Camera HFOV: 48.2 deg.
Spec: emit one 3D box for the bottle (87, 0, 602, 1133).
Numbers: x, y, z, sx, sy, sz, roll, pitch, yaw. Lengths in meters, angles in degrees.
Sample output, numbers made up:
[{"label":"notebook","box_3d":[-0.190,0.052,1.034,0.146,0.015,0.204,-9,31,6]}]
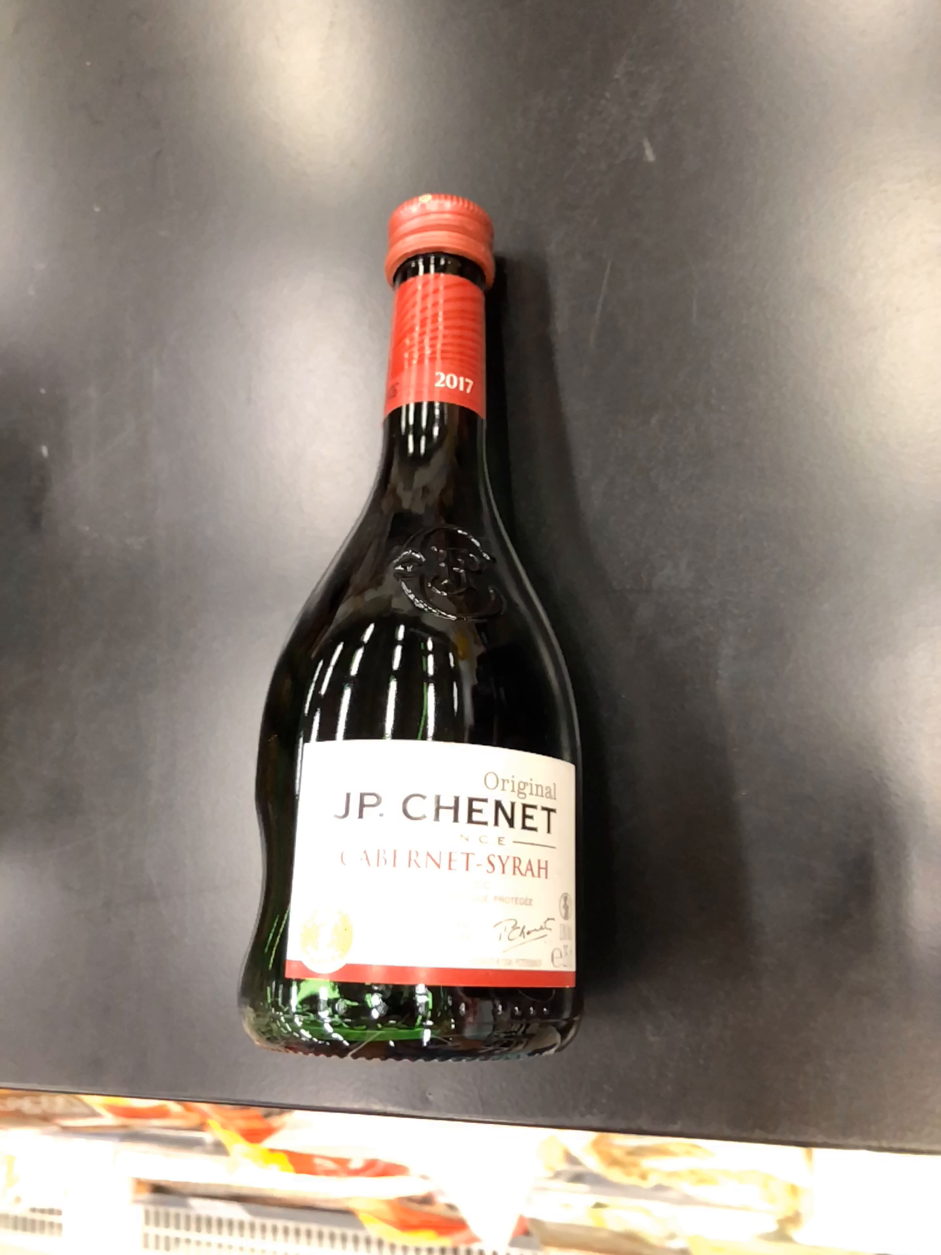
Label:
[{"label":"bottle","box_3d":[-0.019,-0.019,0.208,0.070,0.060,0.200,-5,76,22]}]
